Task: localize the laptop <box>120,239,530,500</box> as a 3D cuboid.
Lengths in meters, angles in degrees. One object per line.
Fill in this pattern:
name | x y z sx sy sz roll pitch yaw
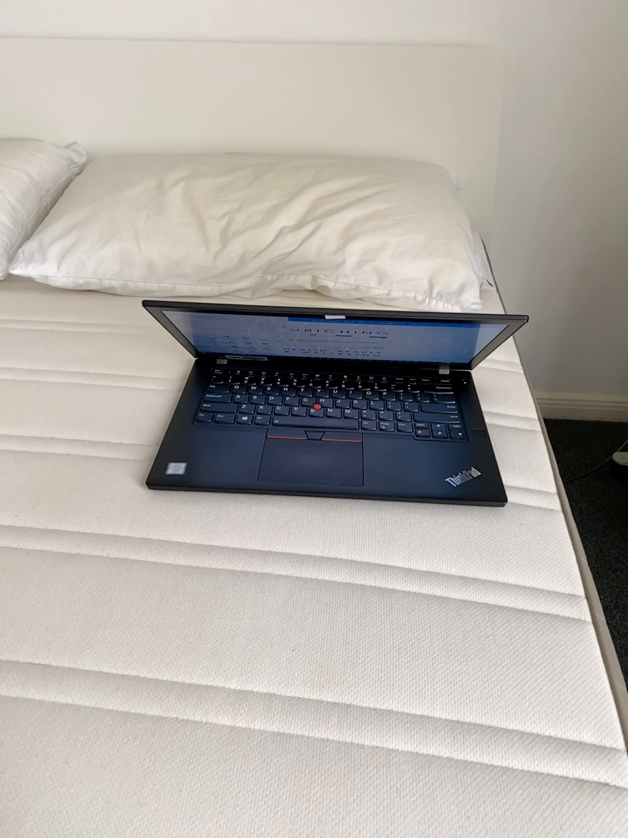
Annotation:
laptop | 0.013 -0.059 0.638 0.324 0.150 0.221 2 36 1
